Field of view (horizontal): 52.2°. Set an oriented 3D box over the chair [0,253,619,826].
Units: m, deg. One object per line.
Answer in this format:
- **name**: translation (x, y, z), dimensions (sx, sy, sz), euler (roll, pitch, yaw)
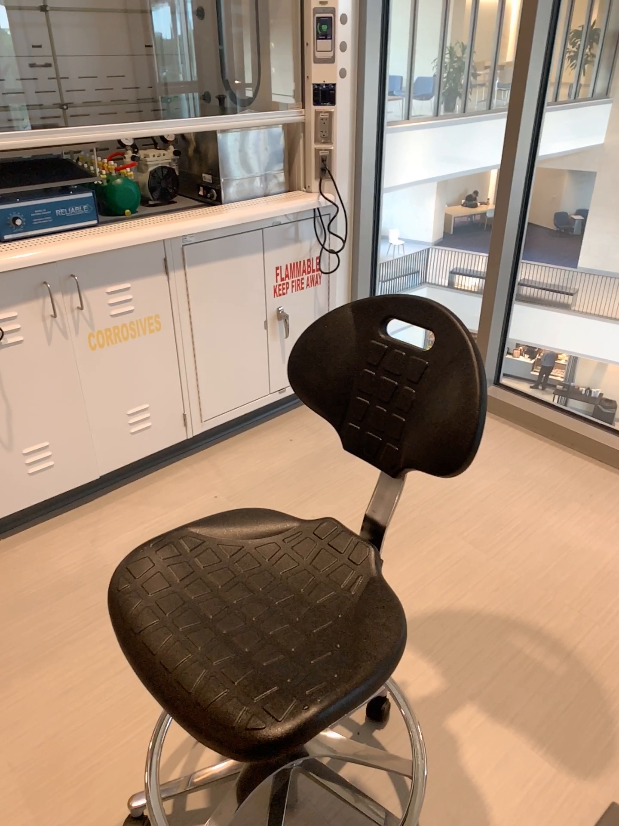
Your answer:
- **chair**: translation (-0.046, 0.340, 1.060), dimensions (0.672, 0.962, 0.663), euler (23, 37, 35)
